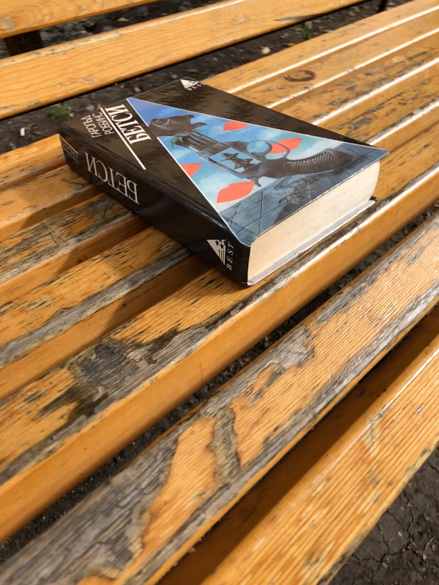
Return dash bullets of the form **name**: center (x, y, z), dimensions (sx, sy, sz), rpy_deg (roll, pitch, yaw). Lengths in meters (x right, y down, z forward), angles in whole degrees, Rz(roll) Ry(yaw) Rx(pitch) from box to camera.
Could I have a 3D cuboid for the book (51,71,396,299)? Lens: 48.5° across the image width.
- **book**: center (-0.005, -0.095, 0.354), dimensions (0.130, 0.045, 0.210), rpy_deg (-33, 52, -30)
